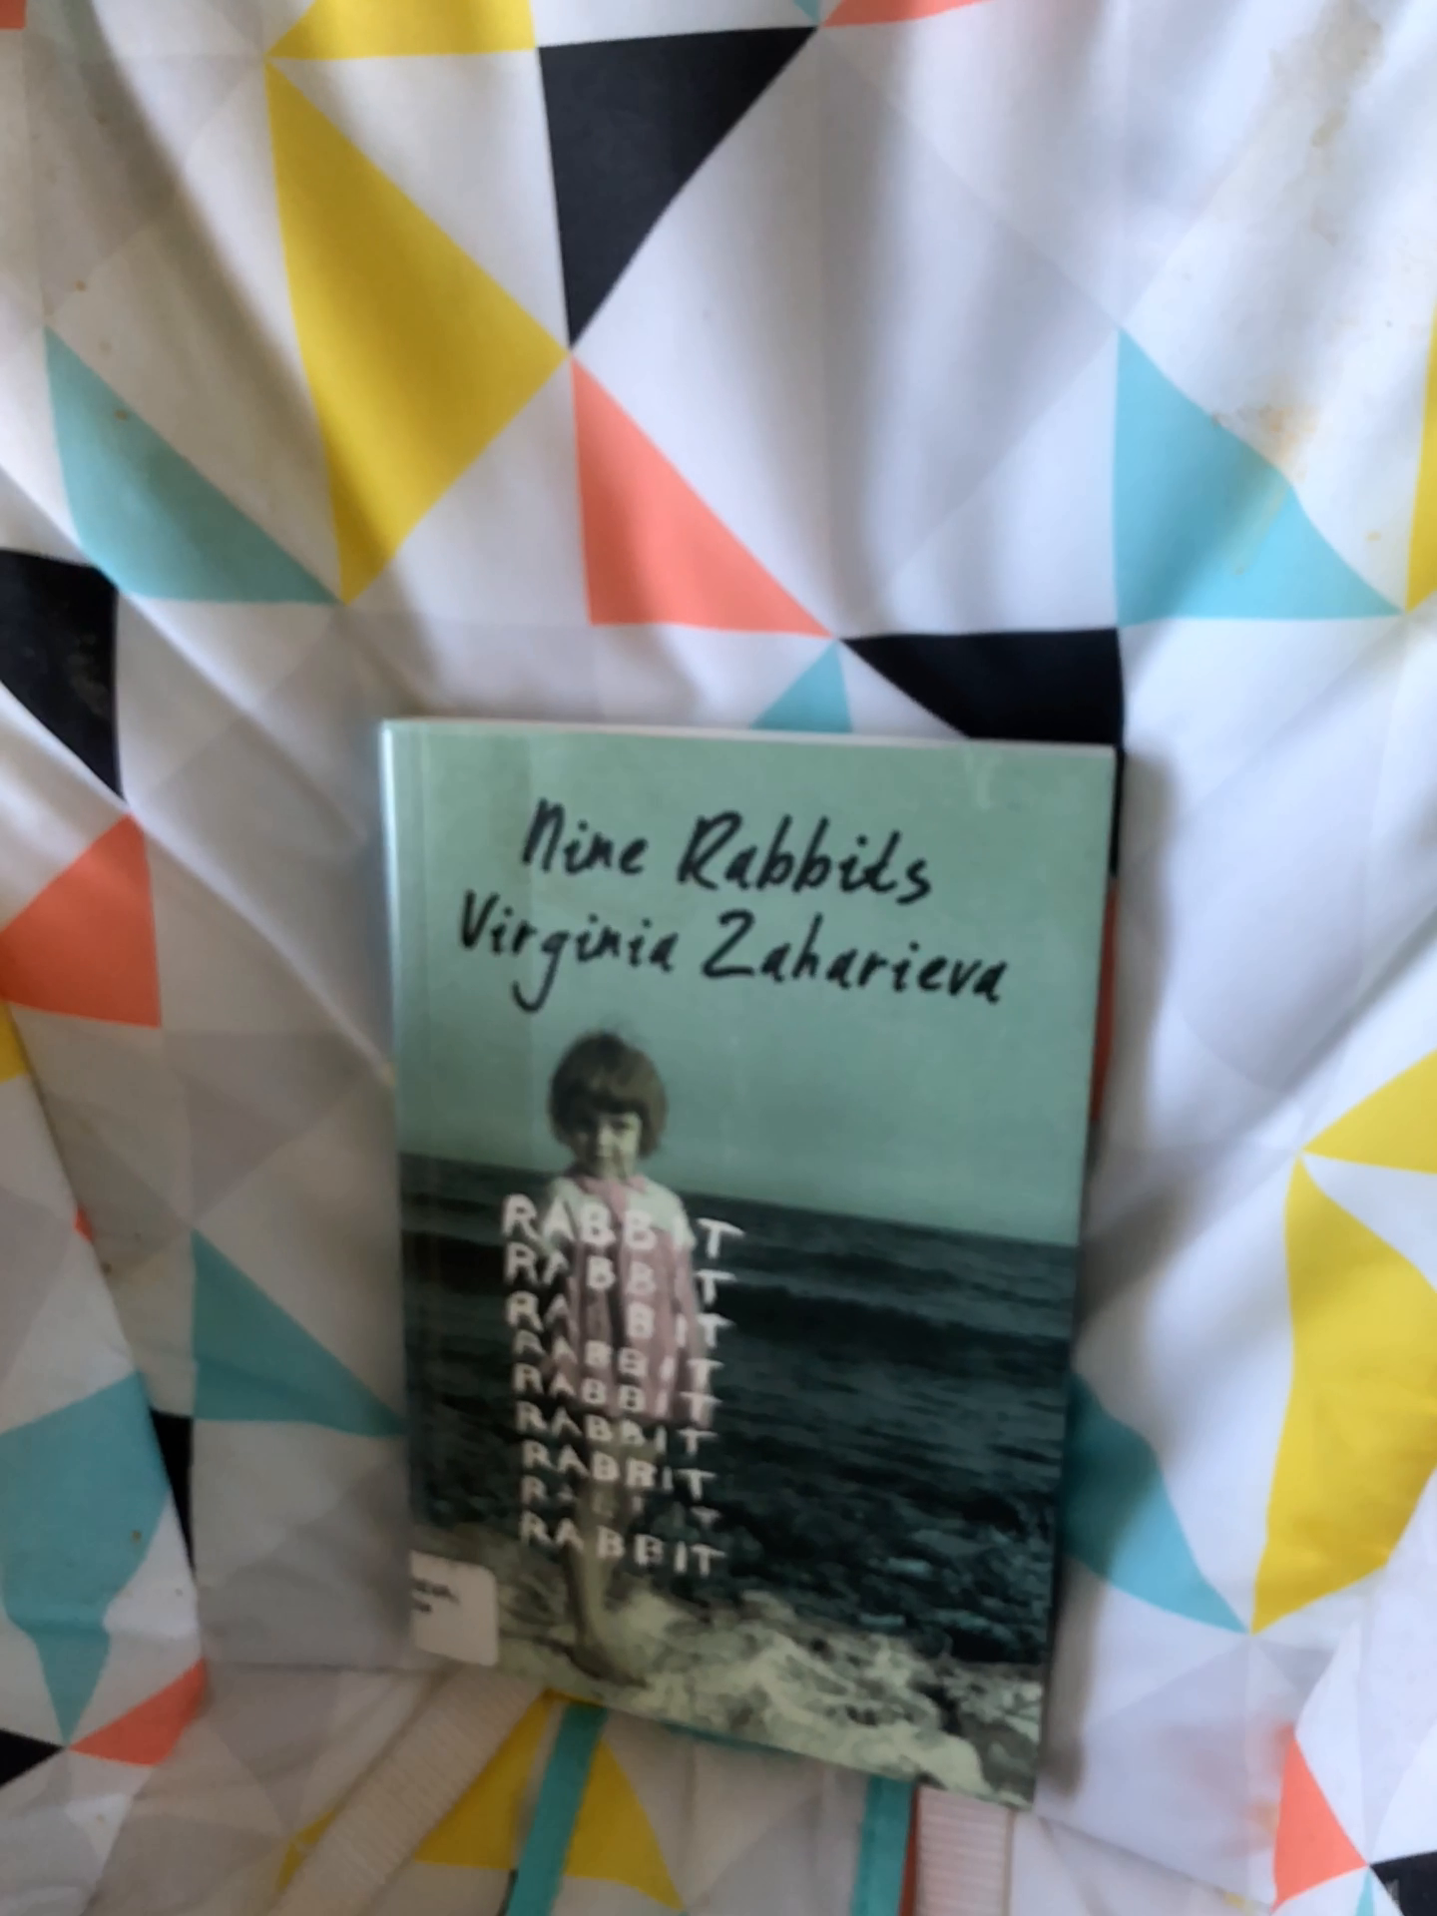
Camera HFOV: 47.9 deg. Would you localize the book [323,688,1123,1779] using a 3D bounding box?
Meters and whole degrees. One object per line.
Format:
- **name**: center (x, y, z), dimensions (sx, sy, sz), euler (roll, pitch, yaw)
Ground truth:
- **book**: center (-0.003, 0.052, 0.320), dimensions (0.145, 0.025, 0.200), euler (5, 104, 16)
